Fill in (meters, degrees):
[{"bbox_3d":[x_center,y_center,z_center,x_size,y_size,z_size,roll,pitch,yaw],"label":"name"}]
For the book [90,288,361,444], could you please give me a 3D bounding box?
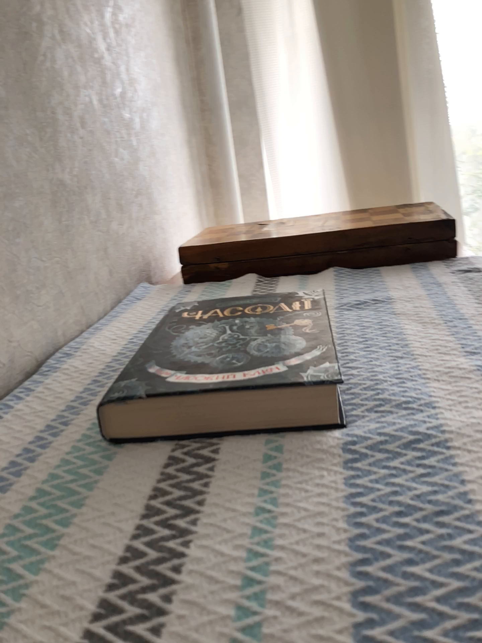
[{"bbox_3d":[-0.001,0.024,0.461,0.177,0.032,0.239,-5,17,7],"label":"book"}]
